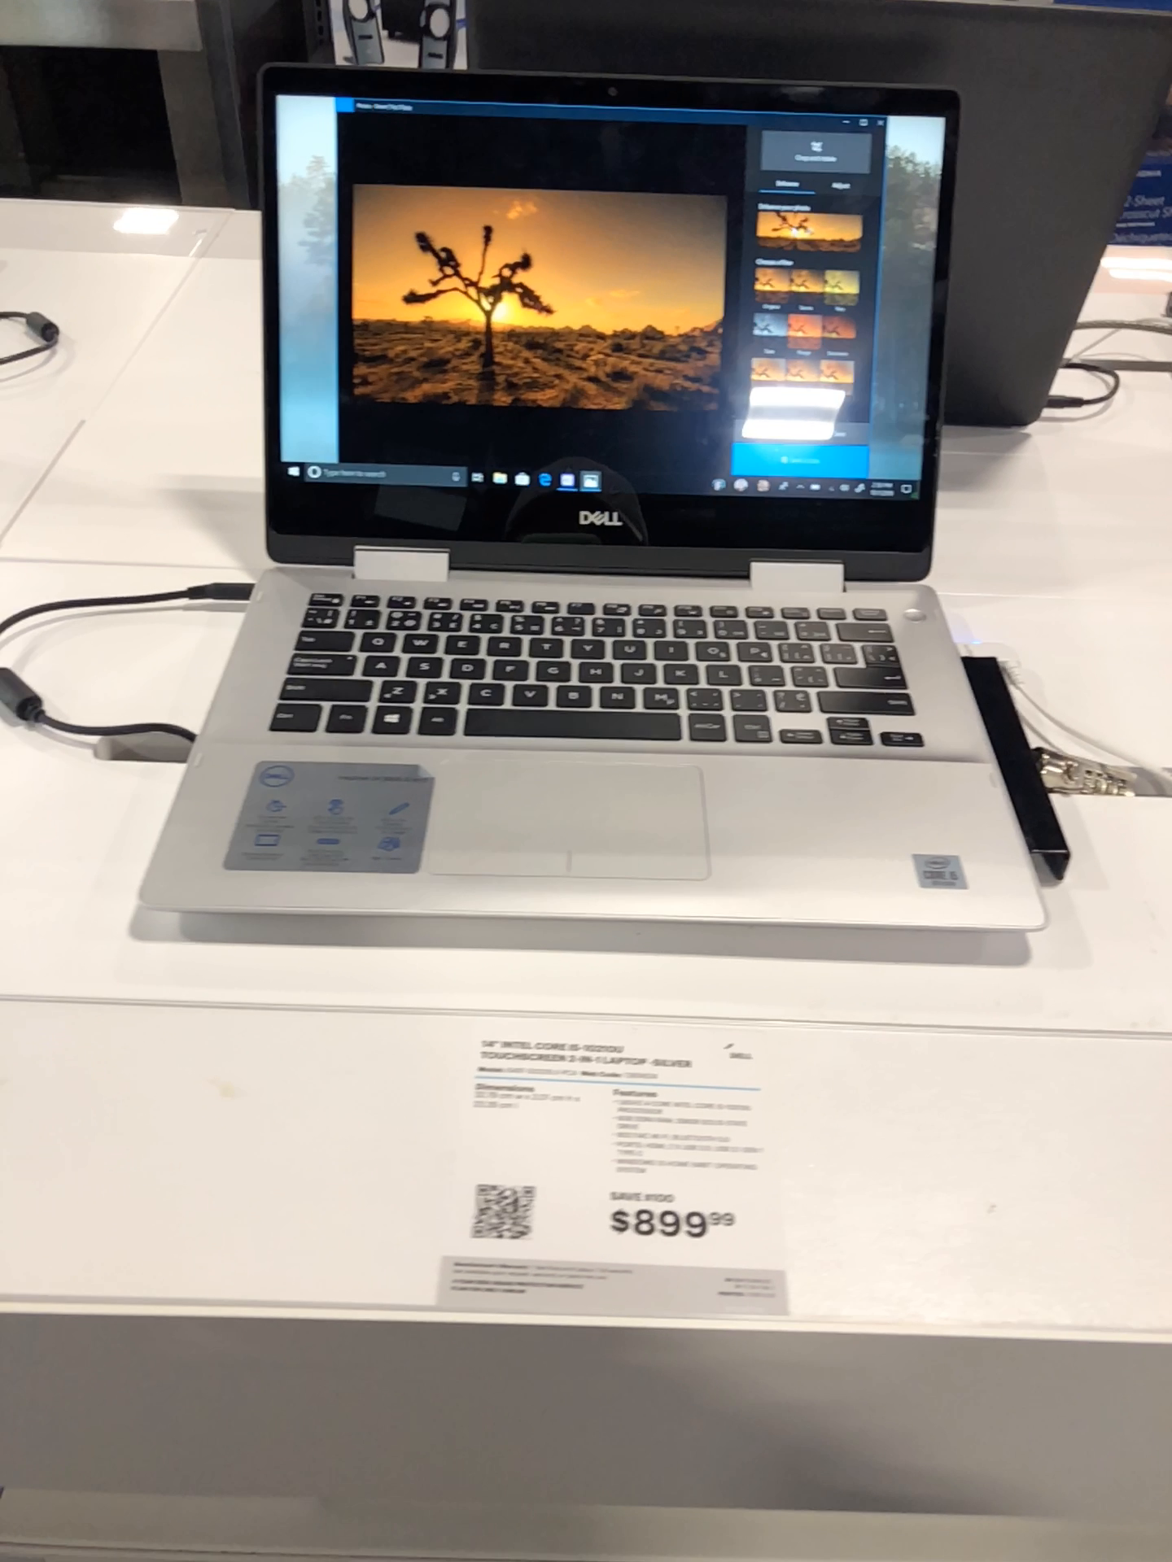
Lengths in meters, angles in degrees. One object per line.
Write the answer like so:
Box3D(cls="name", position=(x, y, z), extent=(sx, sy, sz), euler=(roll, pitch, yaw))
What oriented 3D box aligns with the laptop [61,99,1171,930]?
Box3D(cls="laptop", position=(0.022, -0.130, 0.512), extent=(0.311, 0.195, 0.328), euler=(2, 39, 2))
